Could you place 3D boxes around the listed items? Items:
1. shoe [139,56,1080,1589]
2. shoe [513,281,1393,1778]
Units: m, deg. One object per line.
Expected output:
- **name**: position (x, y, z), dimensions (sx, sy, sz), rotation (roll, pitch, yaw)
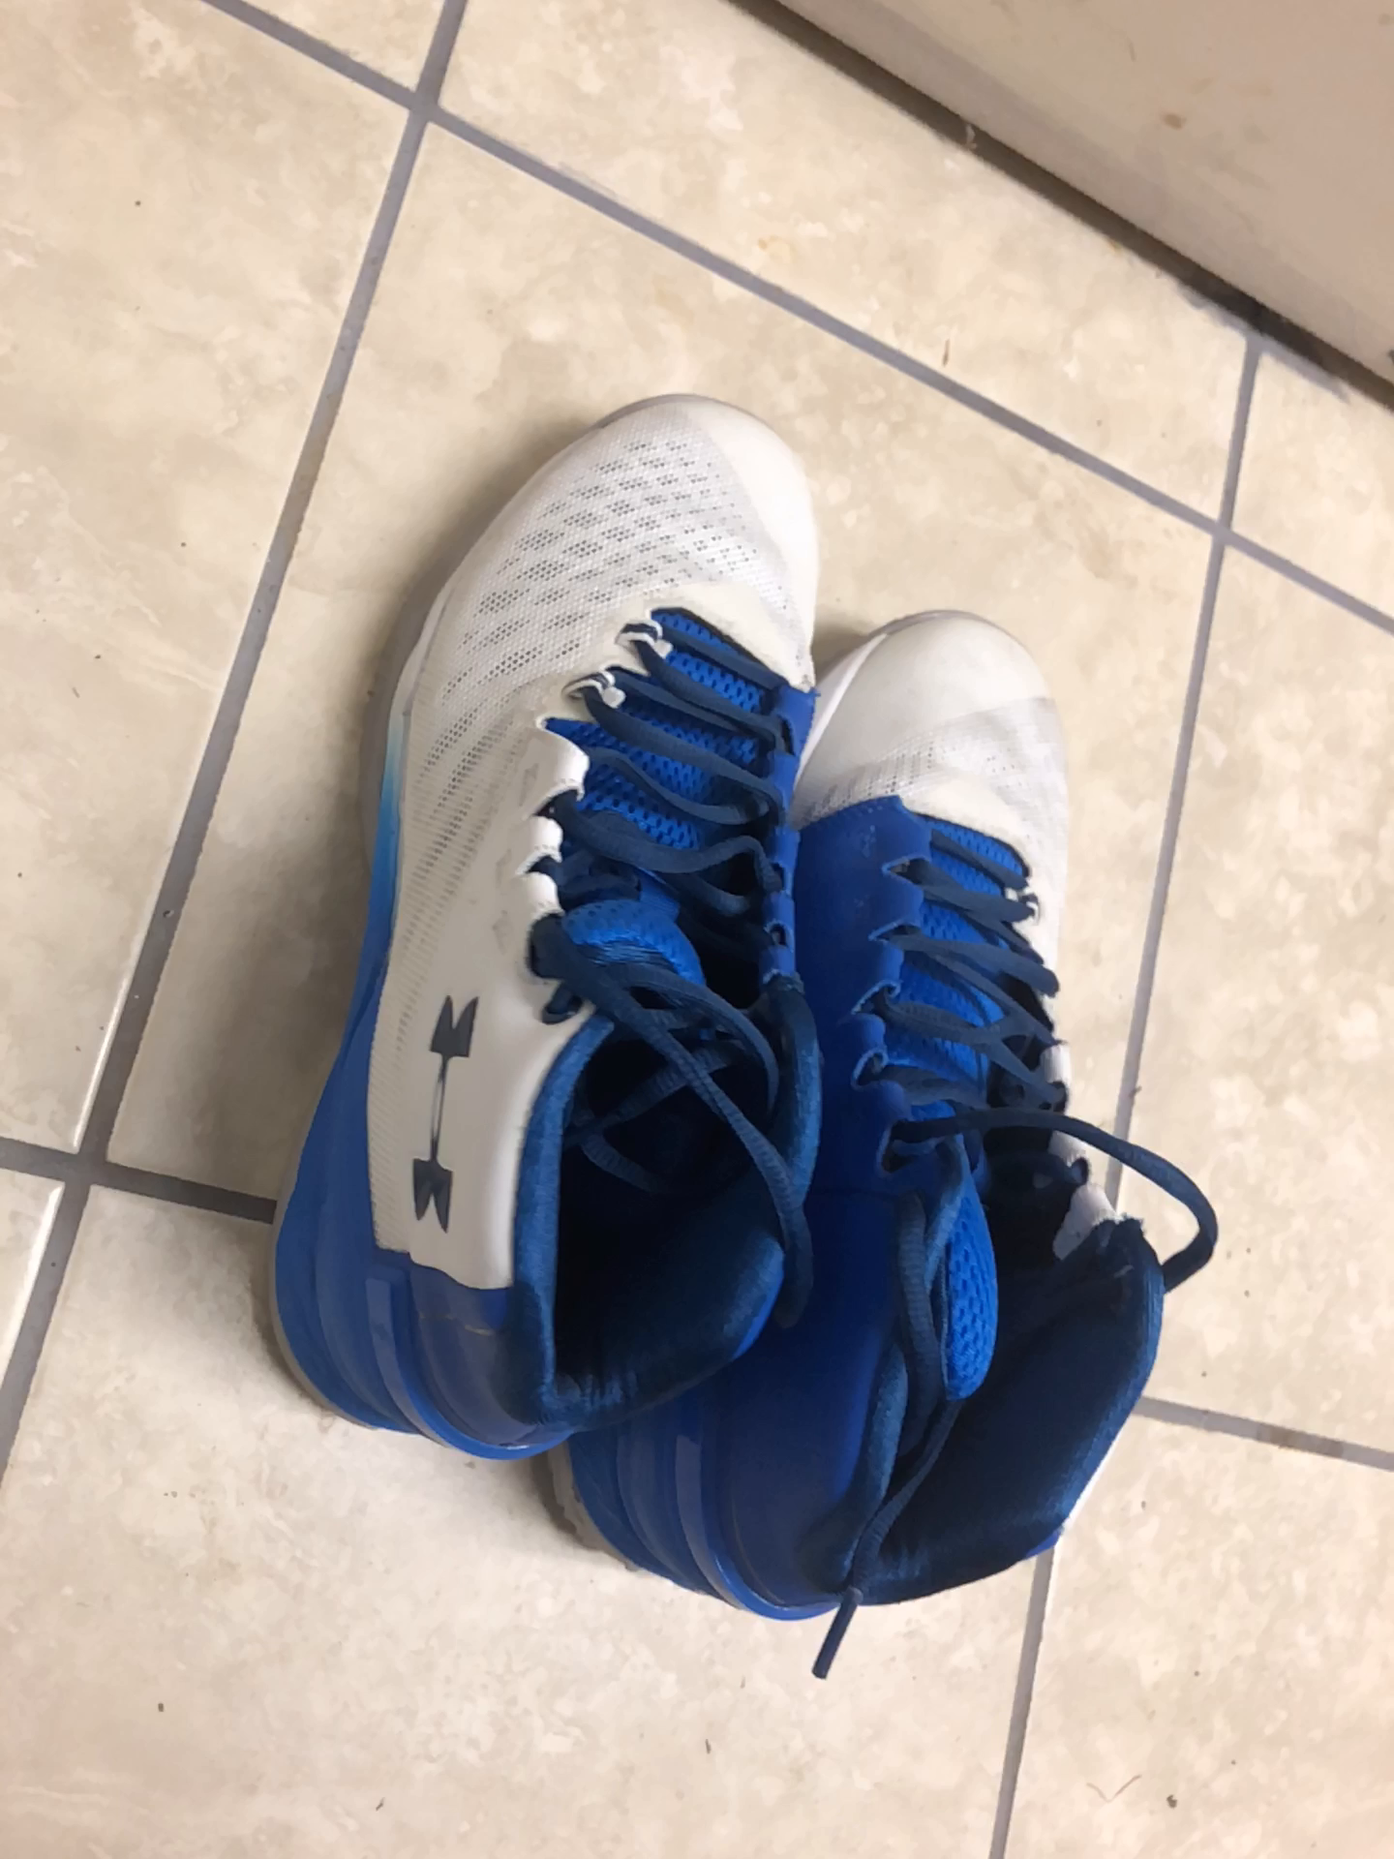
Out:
- **shoe**: position (-0.017, -0.025, 0.375), dimensions (0.120, 0.100, 0.310), rotation (21, 75, -22)
- **shoe**: position (0.074, 0.021, 0.410), dimensions (0.120, 0.130, 0.322), rotation (22, 72, -22)
